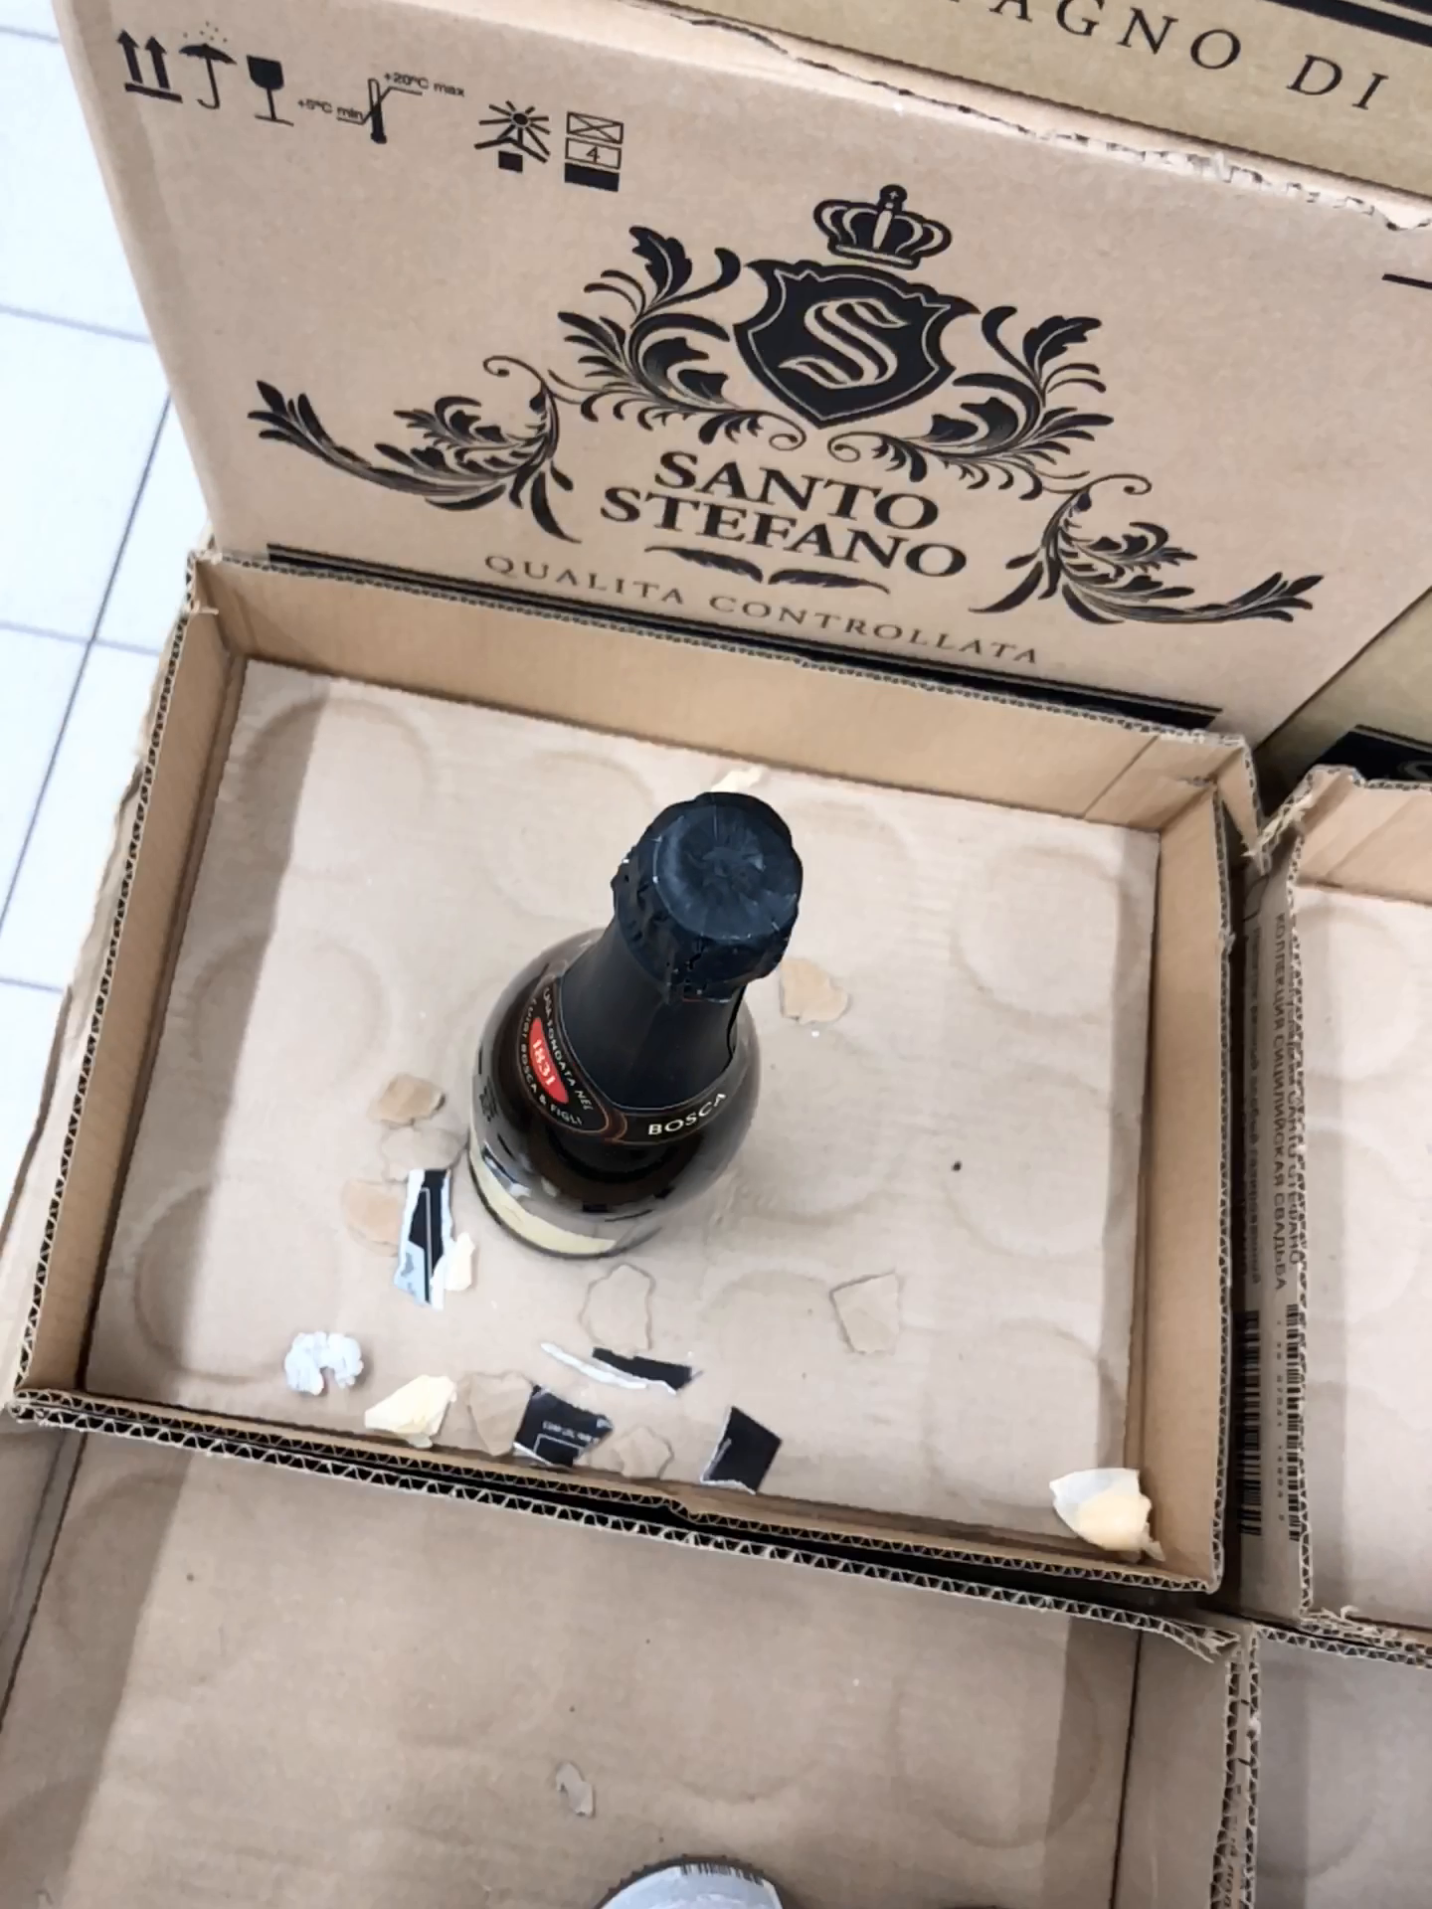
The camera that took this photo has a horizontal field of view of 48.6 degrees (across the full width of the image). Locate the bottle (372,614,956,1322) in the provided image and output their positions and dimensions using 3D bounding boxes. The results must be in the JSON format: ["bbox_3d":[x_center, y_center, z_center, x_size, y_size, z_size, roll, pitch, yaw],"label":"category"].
[{"bbox_3d":[-0.027,0.032,0.421,0.080,0.309,0.090,-14,76,-10],"label":"bottle"}]
